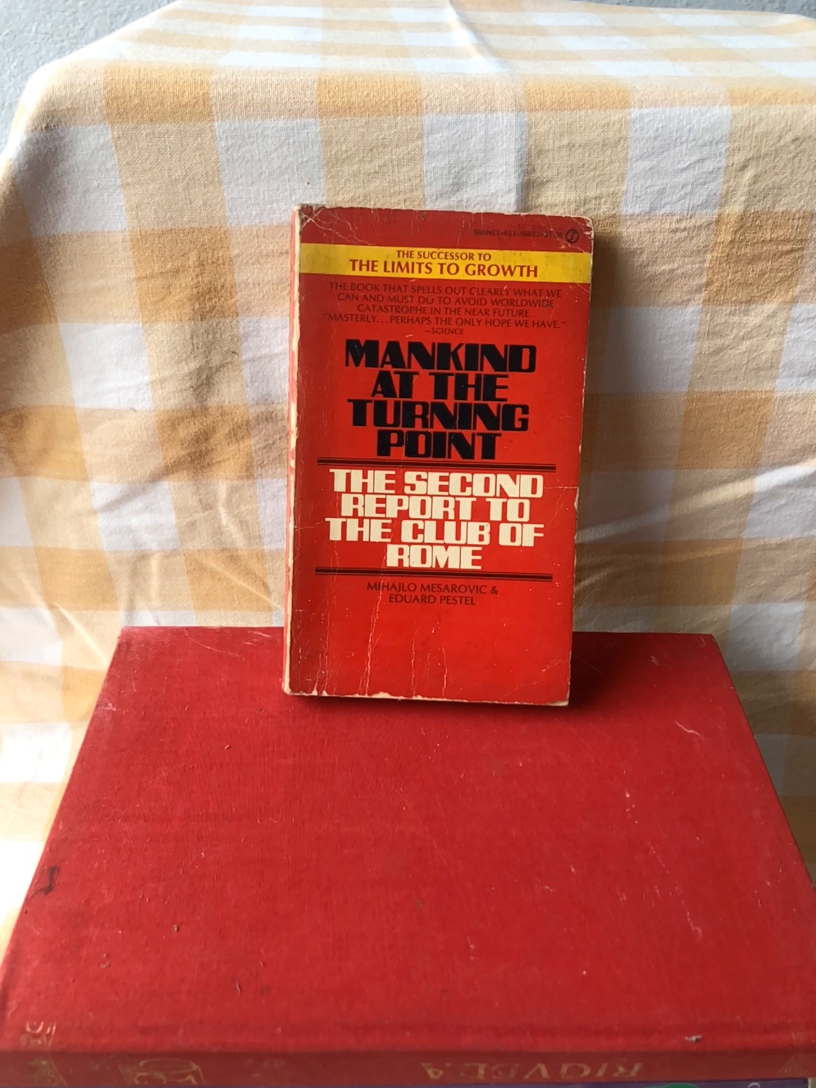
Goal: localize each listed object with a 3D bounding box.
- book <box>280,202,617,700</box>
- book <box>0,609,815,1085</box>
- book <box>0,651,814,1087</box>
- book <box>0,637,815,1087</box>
[{"bbox_3d":[0.011,-0.032,0.333,0.110,0.170,0.040,2,12,-1],"label":"book"},{"bbox_3d":[0.001,0.107,0.366,0.280,0.040,0.191,-1,37,2],"label":"book"},{"bbox_3d":[-0.001,0.125,0.352,0.240,0.040,0.191,-1,37,2],"label":"book"},{"bbox_3d":[-0.004,0.120,0.365,0.270,0.040,0.191,-1,37,2],"label":"book"}]
